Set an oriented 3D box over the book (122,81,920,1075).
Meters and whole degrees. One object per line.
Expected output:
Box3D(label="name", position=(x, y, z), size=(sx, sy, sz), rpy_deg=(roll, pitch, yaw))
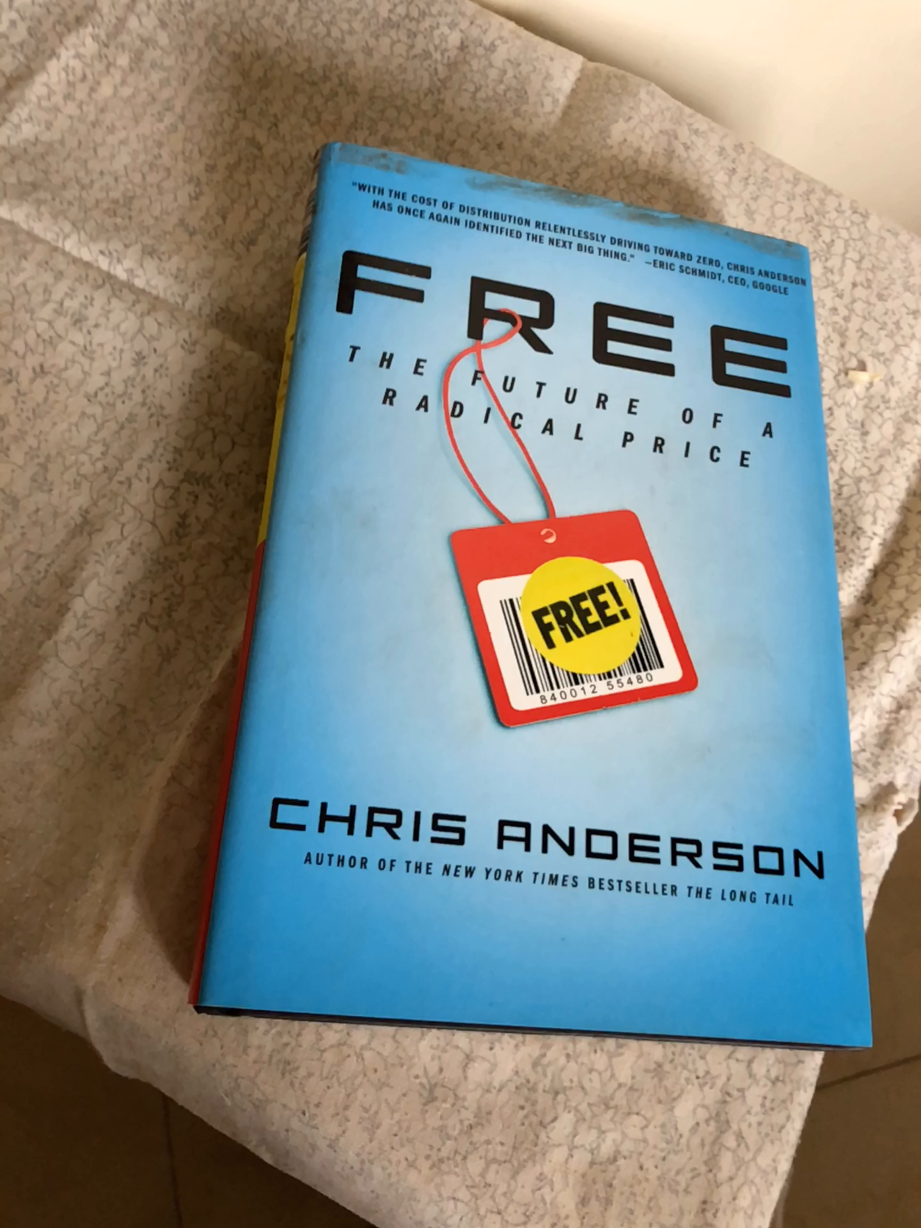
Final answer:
Box3D(label="book", position=(0.021, -0.023, 0.301), size=(0.180, 0.040, 0.280), rpy_deg=(6, 66, -8))
